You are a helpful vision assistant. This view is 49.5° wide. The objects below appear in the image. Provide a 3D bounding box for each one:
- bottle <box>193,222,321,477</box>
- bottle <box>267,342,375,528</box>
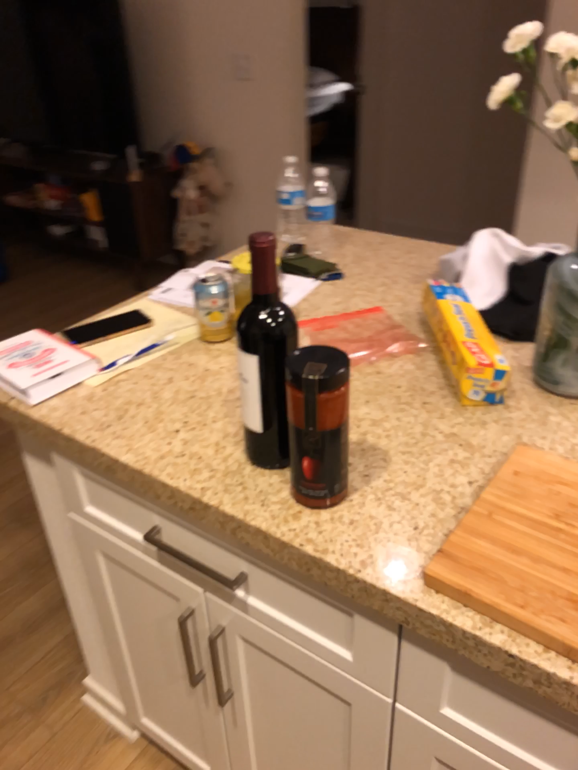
[{"bbox_3d":[-0.028,-0.041,0.761,0.110,0.278,0.111,-2,31,1],"label":"bottle"},{"bbox_3d":[0.039,0.056,0.725,0.090,0.179,0.090,-2,31,1],"label":"bottle"}]
